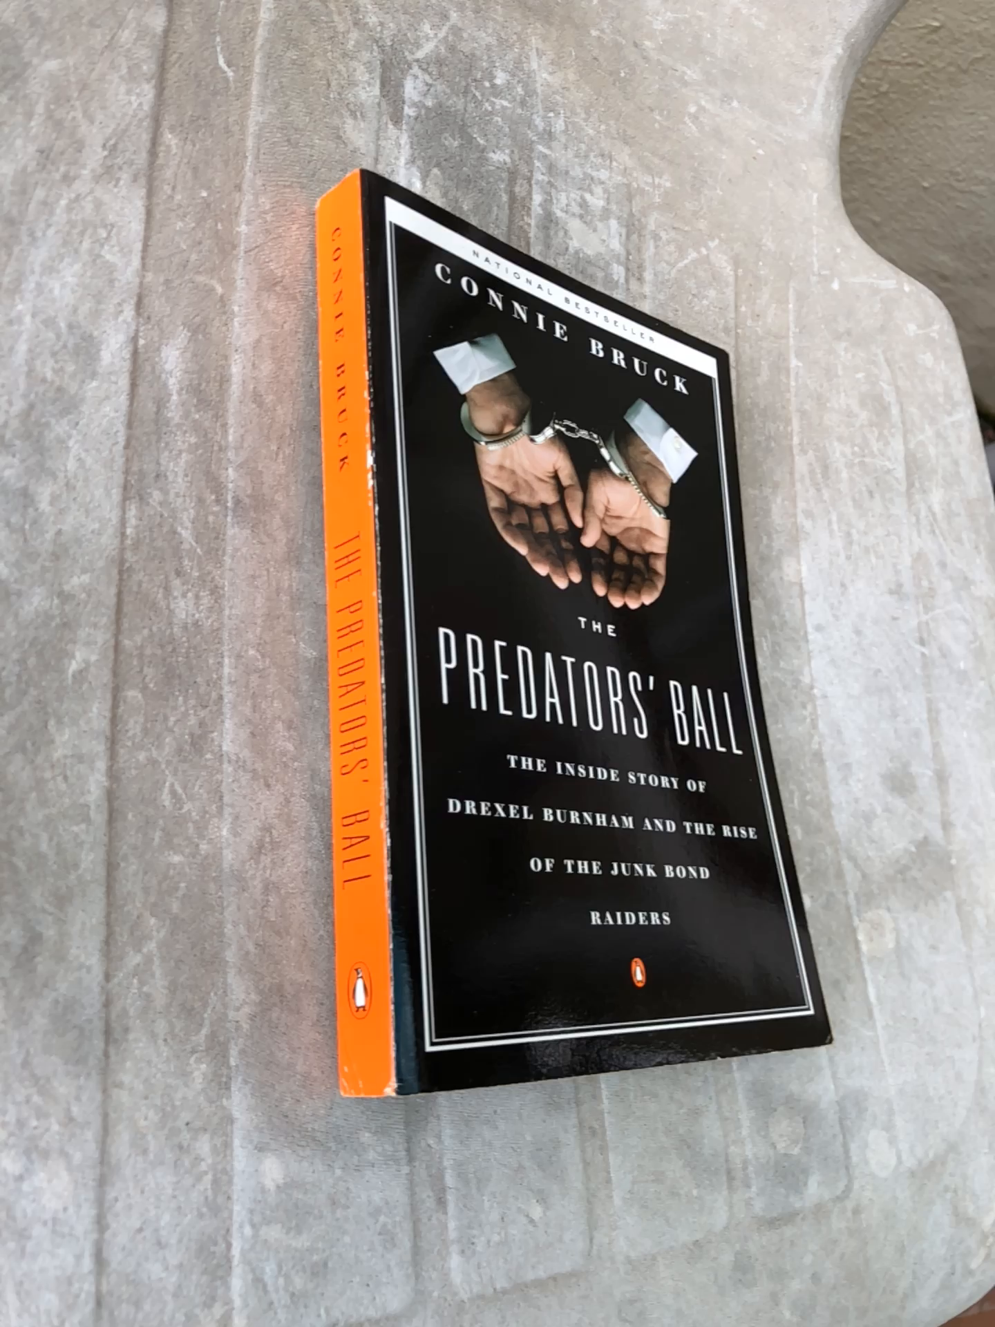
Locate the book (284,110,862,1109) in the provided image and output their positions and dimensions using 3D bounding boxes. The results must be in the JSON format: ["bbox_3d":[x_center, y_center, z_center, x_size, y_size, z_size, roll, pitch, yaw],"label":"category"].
[{"bbox_3d":[0.019,-0.011,0.273,0.141,0.030,0.210,10,67,-39],"label":"book"}]
